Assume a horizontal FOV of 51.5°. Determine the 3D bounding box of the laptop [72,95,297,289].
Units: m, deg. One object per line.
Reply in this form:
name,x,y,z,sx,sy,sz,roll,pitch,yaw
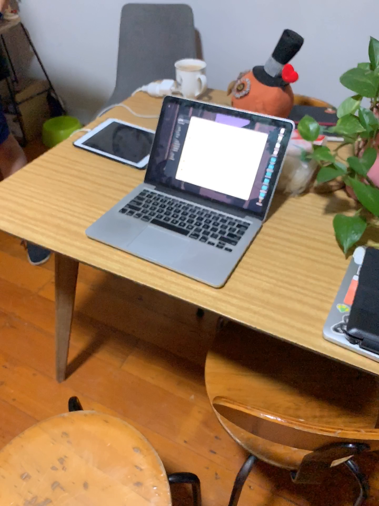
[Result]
laptop,0.005,-0.130,0.681,0.264,0.144,0.288,21,46,22
